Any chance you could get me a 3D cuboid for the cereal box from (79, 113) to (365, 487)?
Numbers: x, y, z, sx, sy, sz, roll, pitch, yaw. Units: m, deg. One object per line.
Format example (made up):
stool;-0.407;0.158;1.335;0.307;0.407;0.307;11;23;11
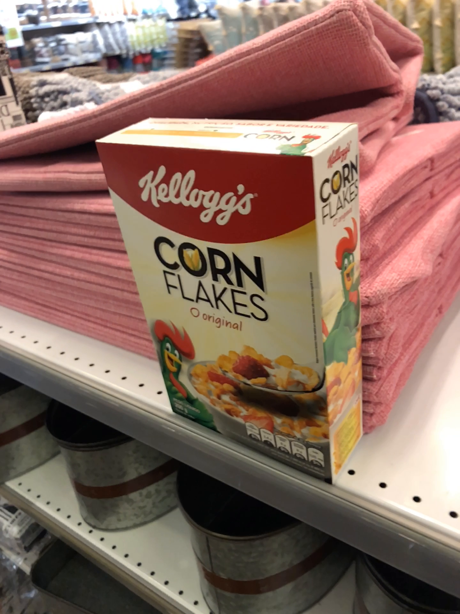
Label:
cereal box;0.005;-0.006;0.392;0.181;0.258;0.060;16;41;34
